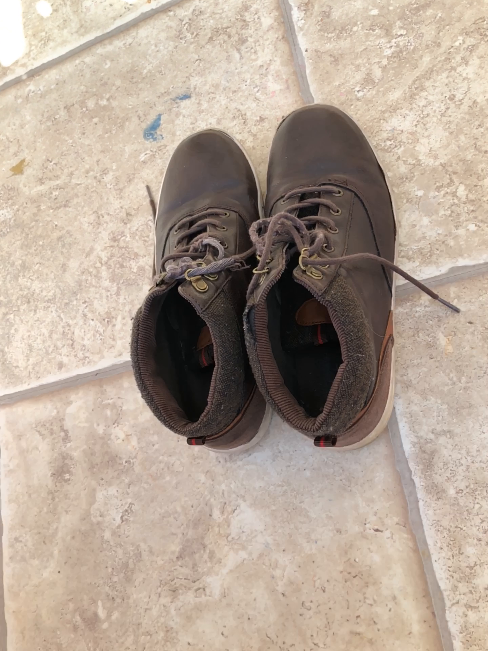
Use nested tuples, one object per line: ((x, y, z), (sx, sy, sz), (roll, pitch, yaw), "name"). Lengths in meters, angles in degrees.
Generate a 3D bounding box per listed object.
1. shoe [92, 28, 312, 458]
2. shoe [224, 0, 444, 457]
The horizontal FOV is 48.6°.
((-0.031, -0.050, 0.445), (0.110, 0.150, 0.301), (-9, 73, 20), "shoe")
((0.069, -0.059, 0.404), (0.110, 0.150, 0.301), (-8, 74, 20), "shoe")
